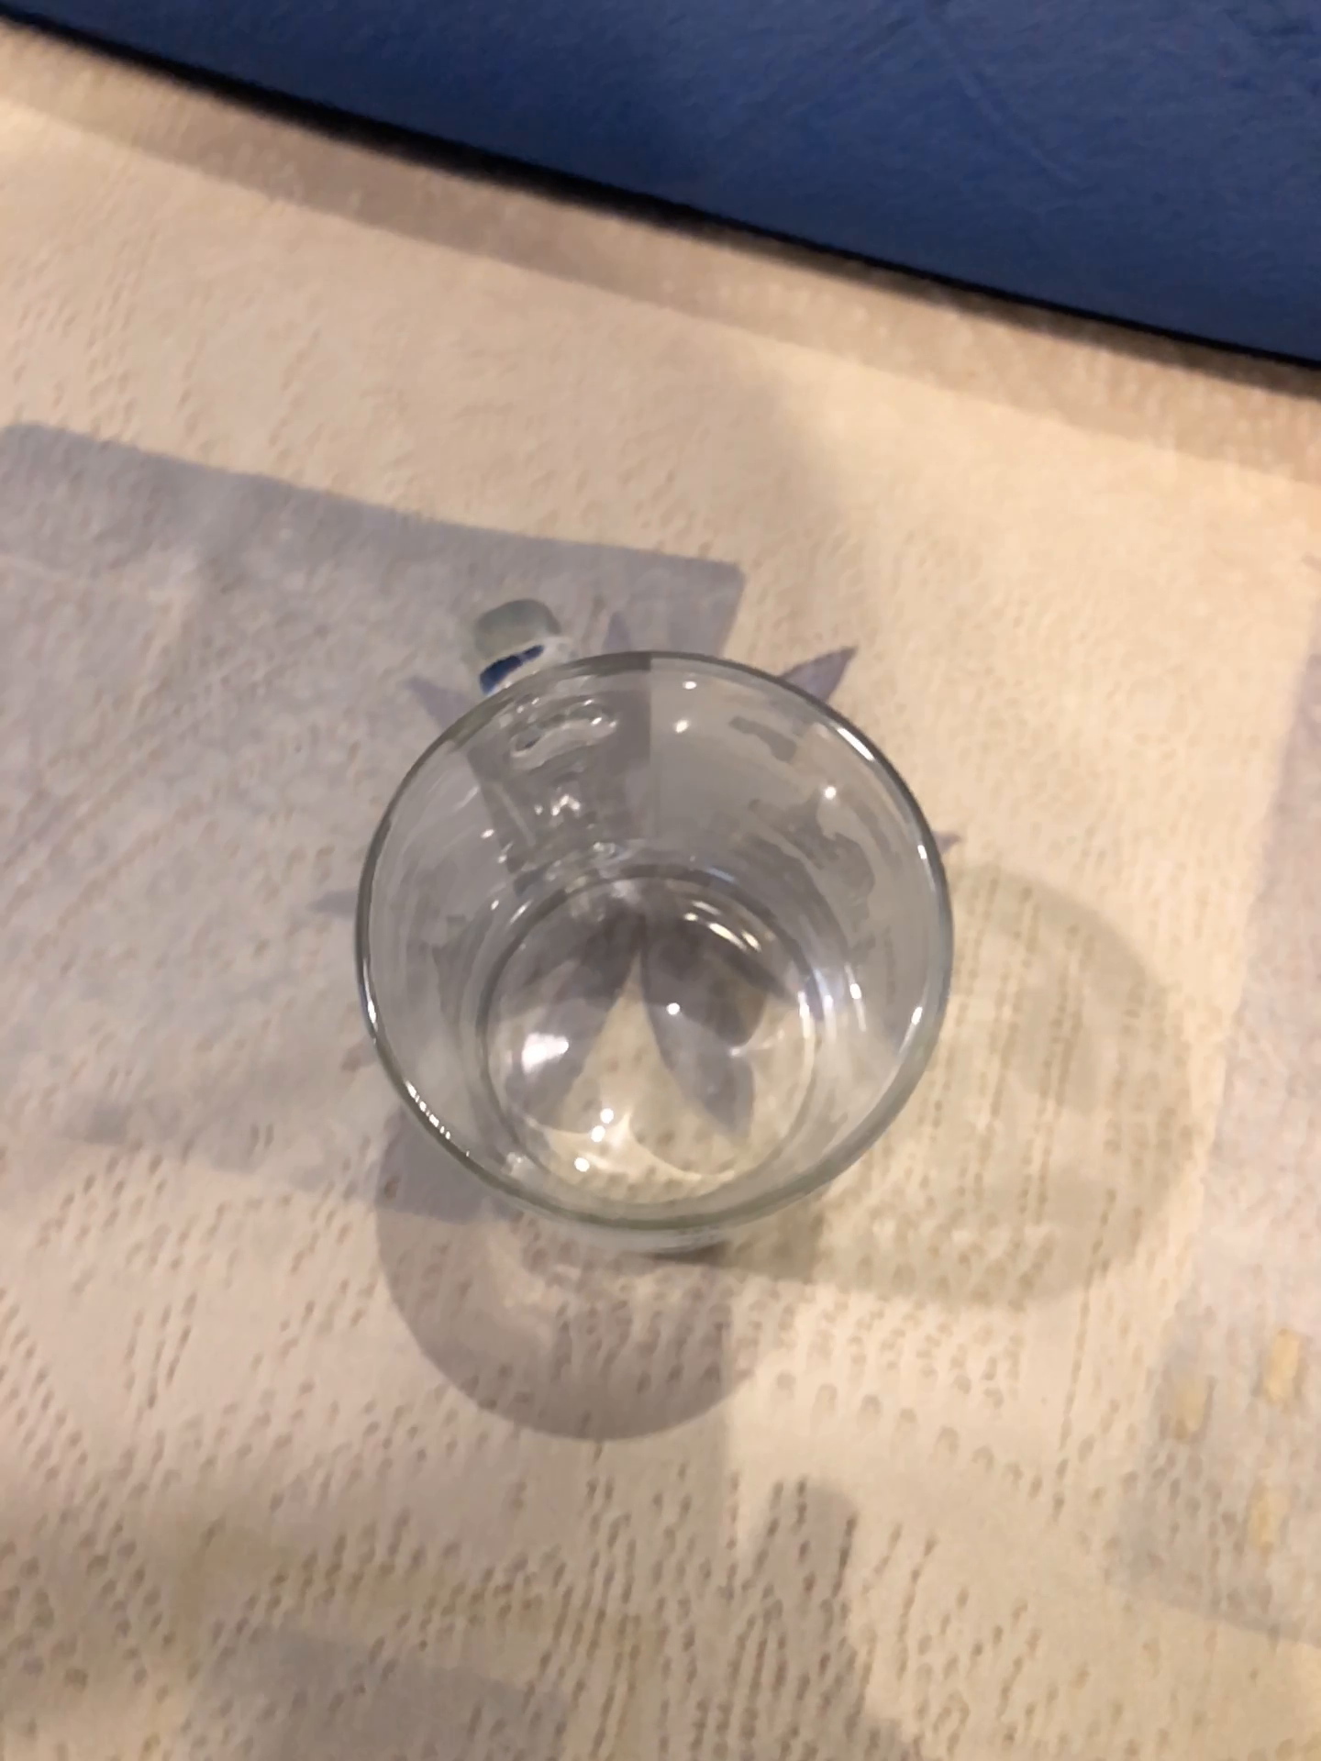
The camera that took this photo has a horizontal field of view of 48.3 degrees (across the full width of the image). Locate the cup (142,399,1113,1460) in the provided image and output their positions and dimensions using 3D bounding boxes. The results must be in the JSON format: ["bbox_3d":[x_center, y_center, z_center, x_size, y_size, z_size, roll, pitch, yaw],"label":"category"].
[{"bbox_3d":[-0.009,0.010,0.234,0.090,0.080,0.120,-21,76,-8],"label":"cup"}]
